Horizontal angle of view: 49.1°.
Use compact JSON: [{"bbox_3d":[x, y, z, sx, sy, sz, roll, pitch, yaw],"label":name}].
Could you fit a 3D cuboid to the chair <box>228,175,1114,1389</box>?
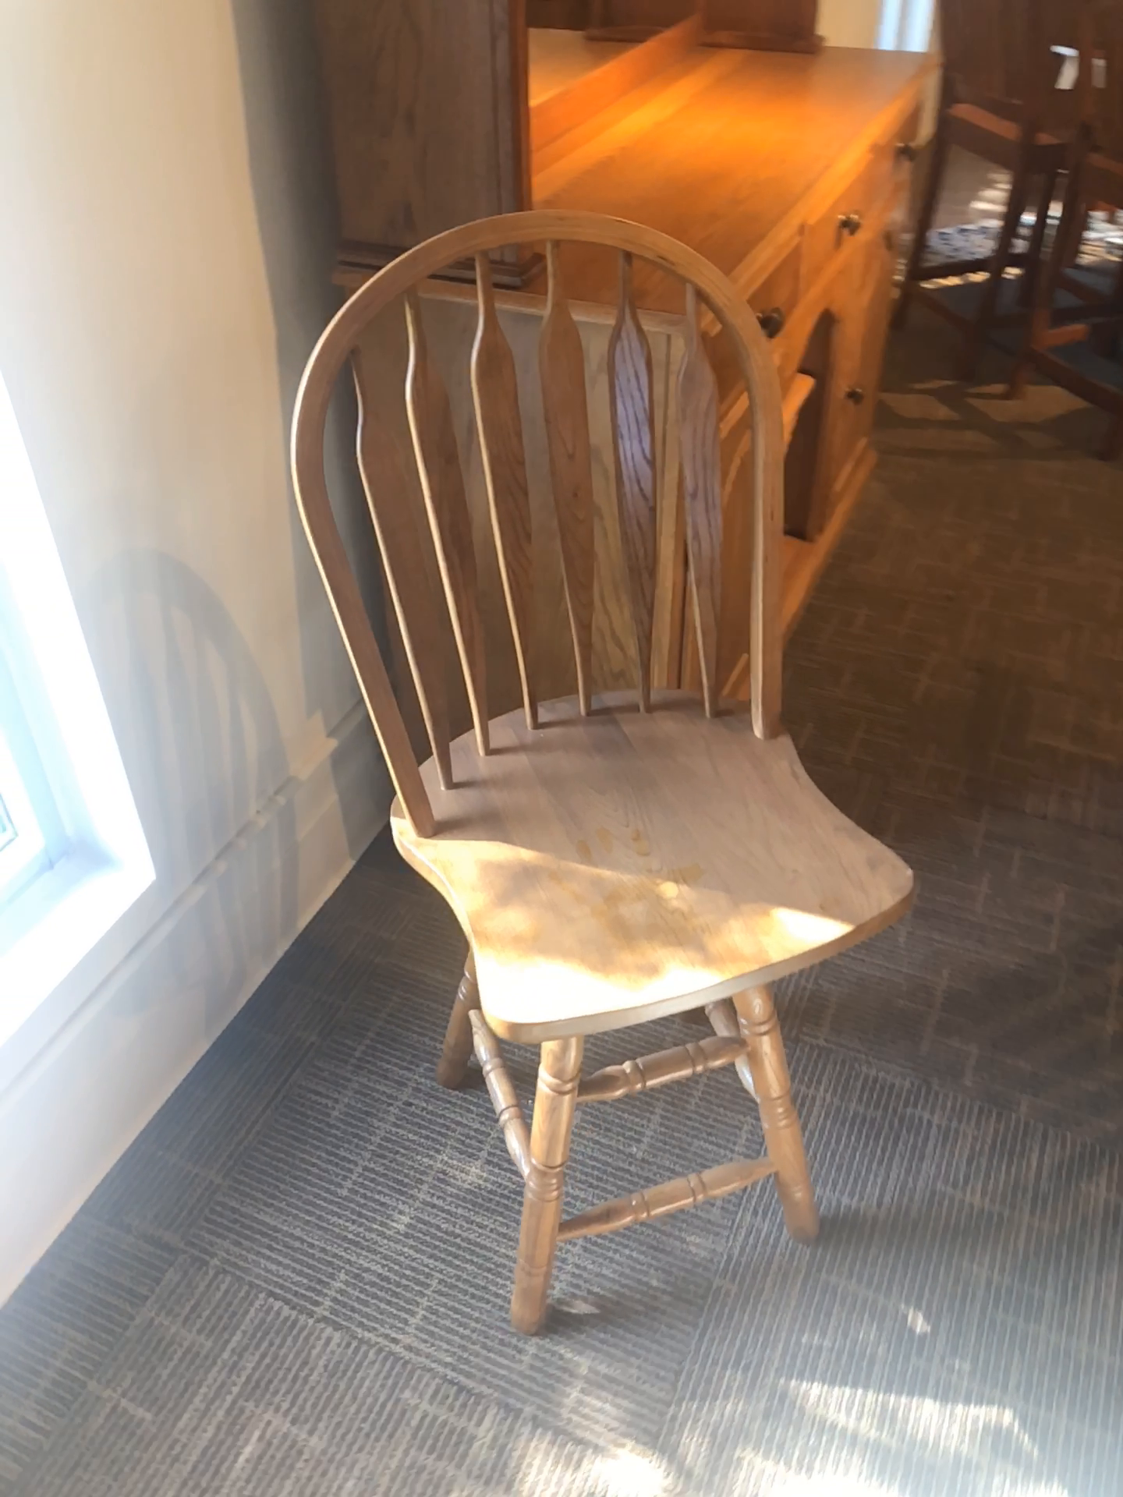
[{"bbox_3d":[0.046,0.065,1.241,0.480,1.025,0.542,-14,41,-15],"label":"chair"}]
